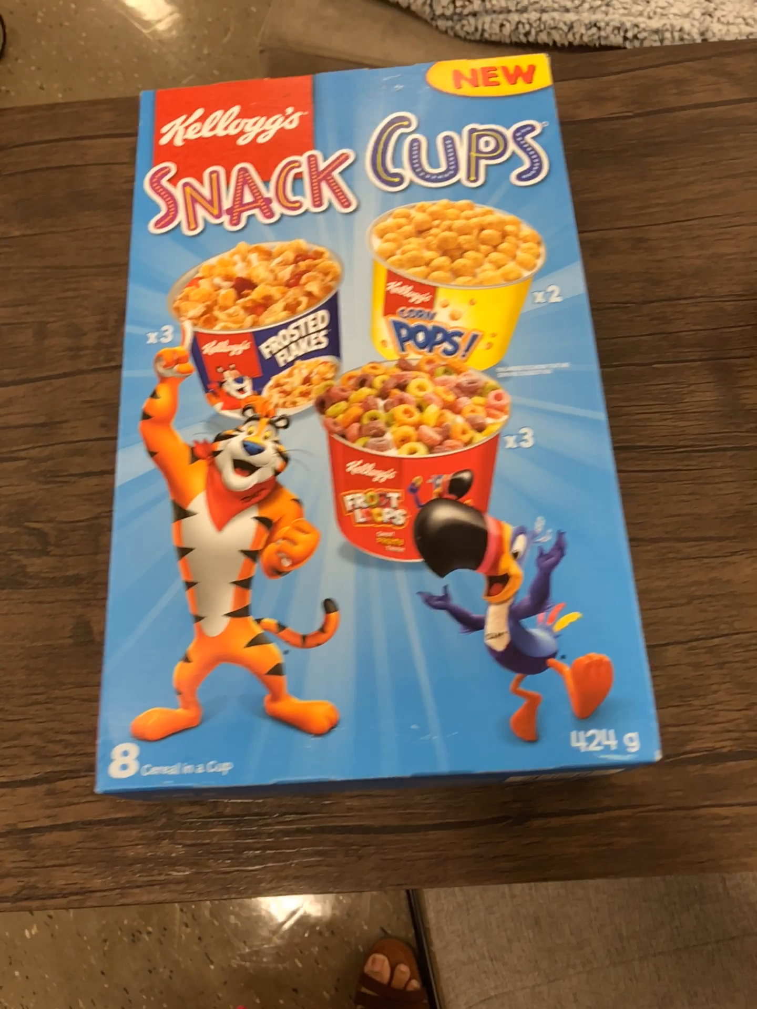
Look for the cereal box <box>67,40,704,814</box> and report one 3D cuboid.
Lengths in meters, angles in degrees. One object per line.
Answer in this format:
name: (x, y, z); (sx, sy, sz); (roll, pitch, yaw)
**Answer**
cereal box: (-0.004, -0.038, 0.391); (0.220, 0.100, 0.330); (-4, 71, 3)
